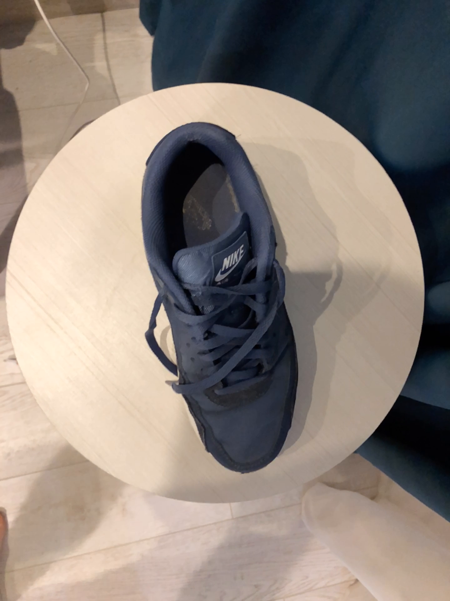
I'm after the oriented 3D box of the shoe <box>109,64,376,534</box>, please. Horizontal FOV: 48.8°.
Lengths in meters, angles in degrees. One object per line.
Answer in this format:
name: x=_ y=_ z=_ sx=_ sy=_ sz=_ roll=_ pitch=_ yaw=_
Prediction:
shoe: x=0.006 y=-0.003 z=0.369 sx=0.110 sy=0.110 sz=0.280 roll=-13 pitch=89 yaw=-7
